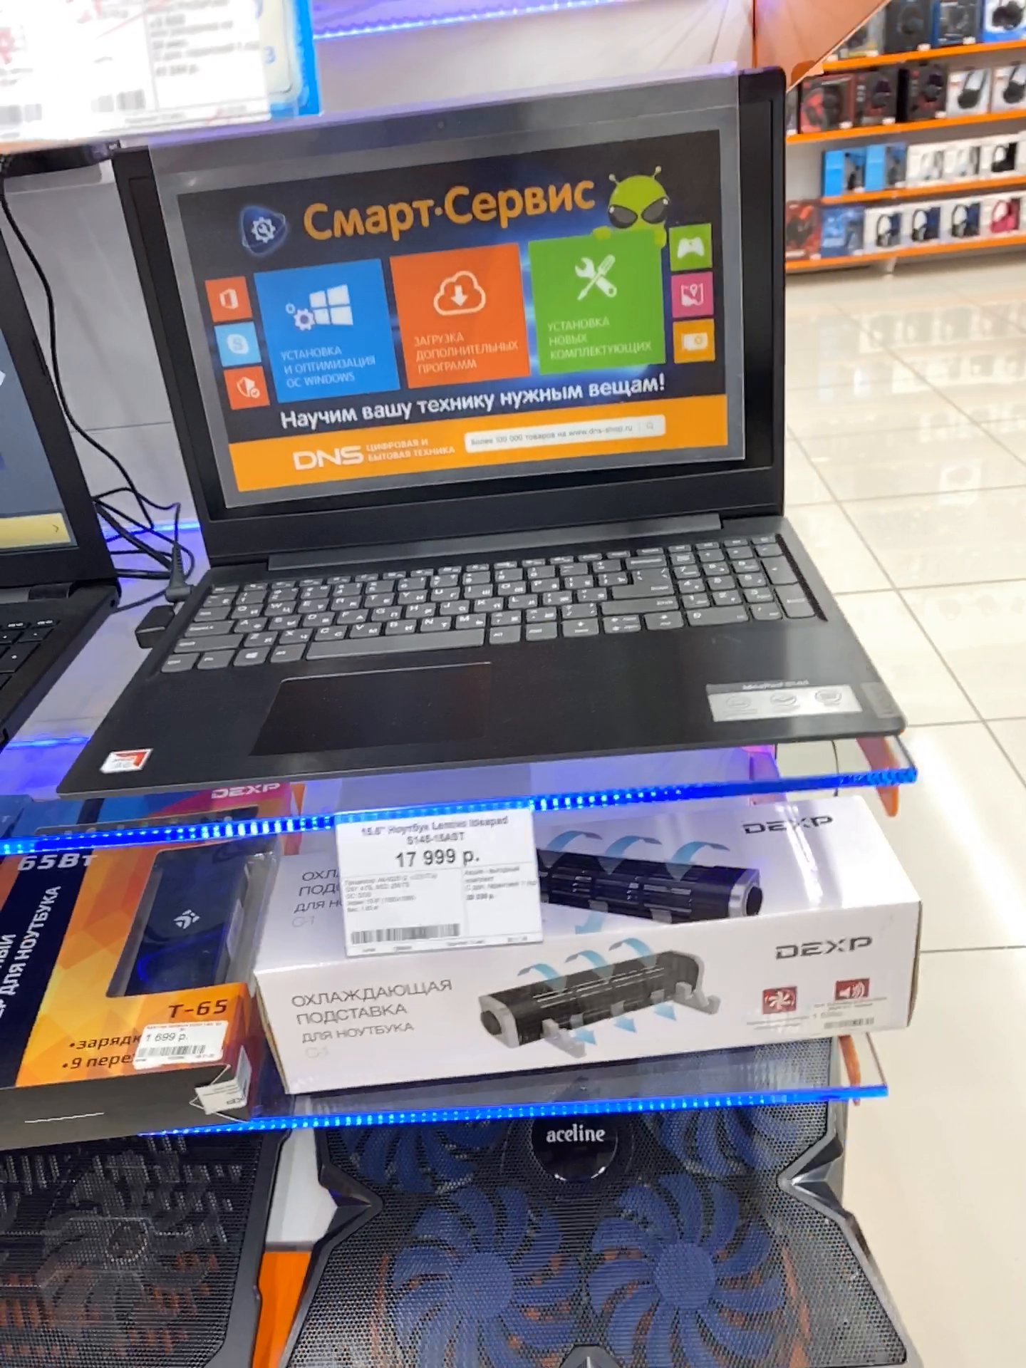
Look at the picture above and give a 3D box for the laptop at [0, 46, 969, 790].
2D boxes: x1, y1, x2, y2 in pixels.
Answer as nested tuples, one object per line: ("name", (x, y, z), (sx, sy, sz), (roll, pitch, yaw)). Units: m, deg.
("laptop", (-0.026, -0.137, 0.499), (0.357, 0.236, 0.267), (-5, 29, 4))
